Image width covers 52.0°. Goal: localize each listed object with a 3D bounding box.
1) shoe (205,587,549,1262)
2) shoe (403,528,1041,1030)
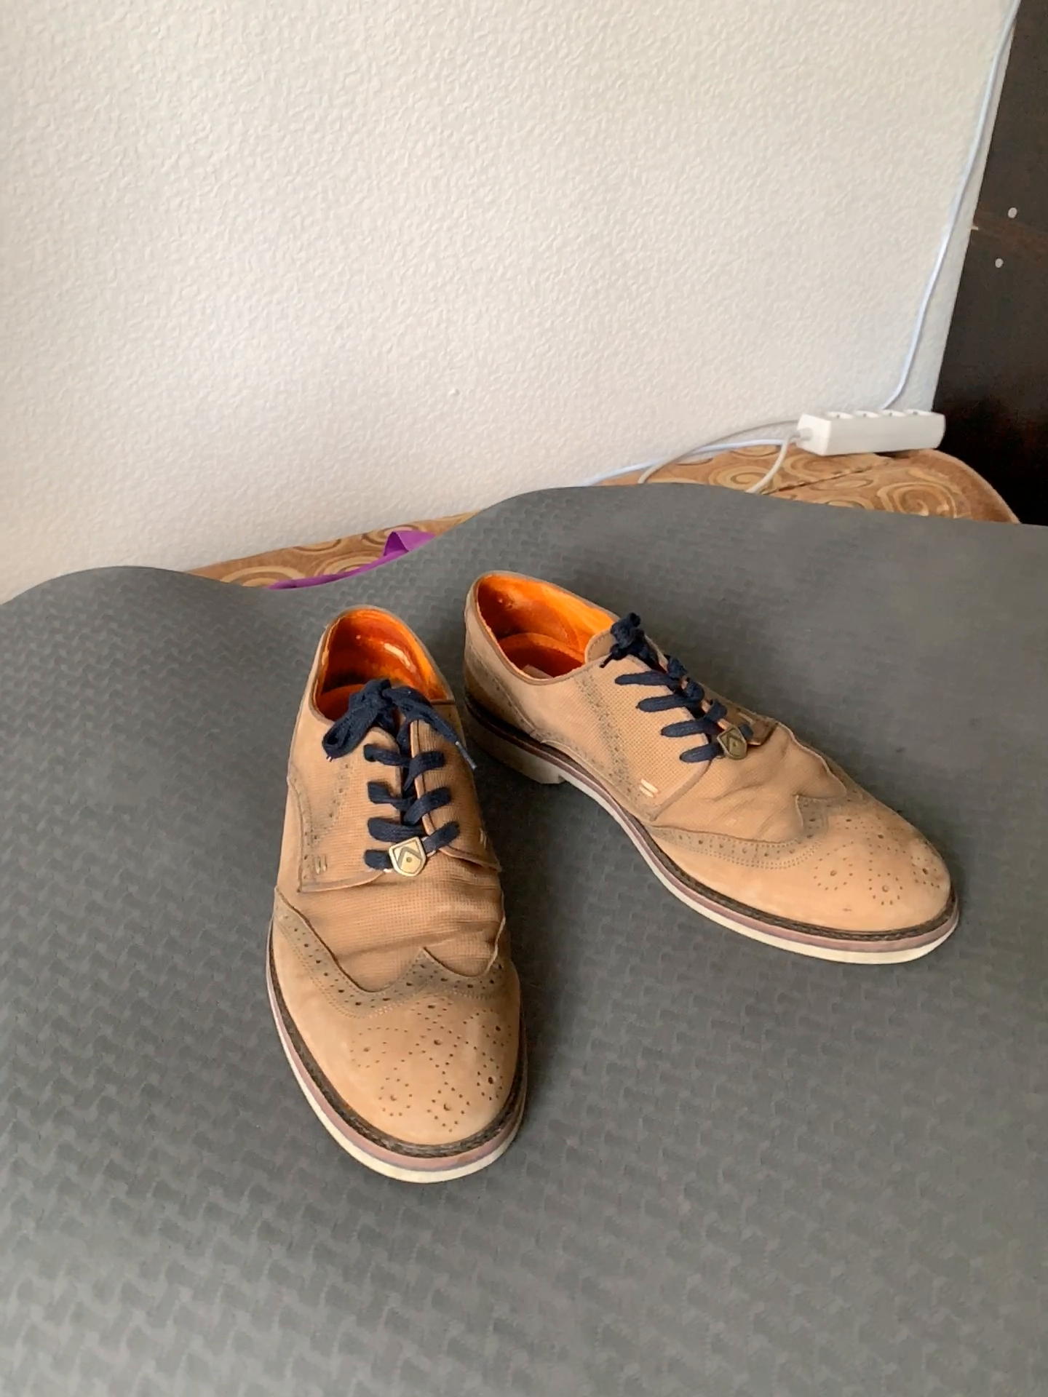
[{"bbox_3d":[-0.077,0.073,0.491,0.110,0.090,0.302,-9,39,-9],"label":"shoe"},{"bbox_3d":[0.081,0.021,0.541,0.291,0.090,0.110,29,48,34],"label":"shoe"}]
